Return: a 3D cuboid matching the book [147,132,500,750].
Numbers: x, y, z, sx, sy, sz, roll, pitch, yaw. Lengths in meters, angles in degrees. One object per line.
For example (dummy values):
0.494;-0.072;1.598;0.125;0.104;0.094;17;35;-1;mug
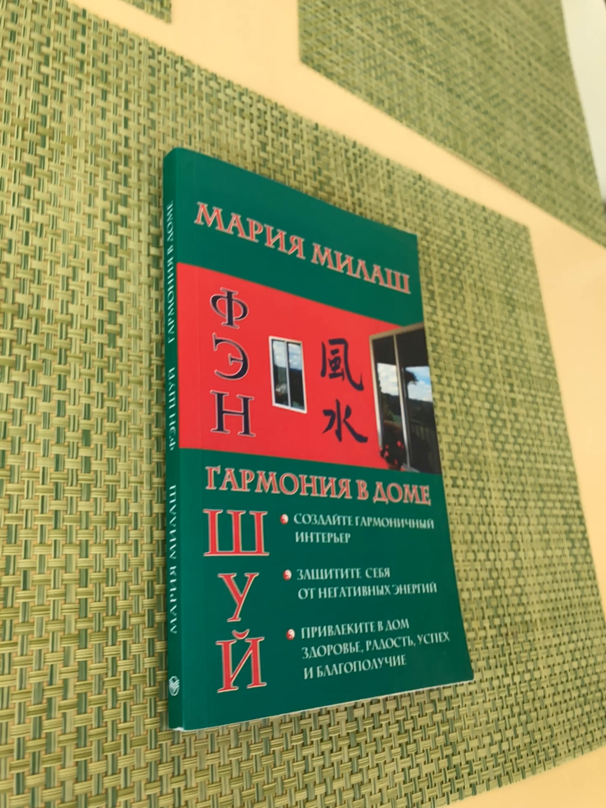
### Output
0.009;0.009;0.260;0.137;0.020;0.200;9;68;-36;book
